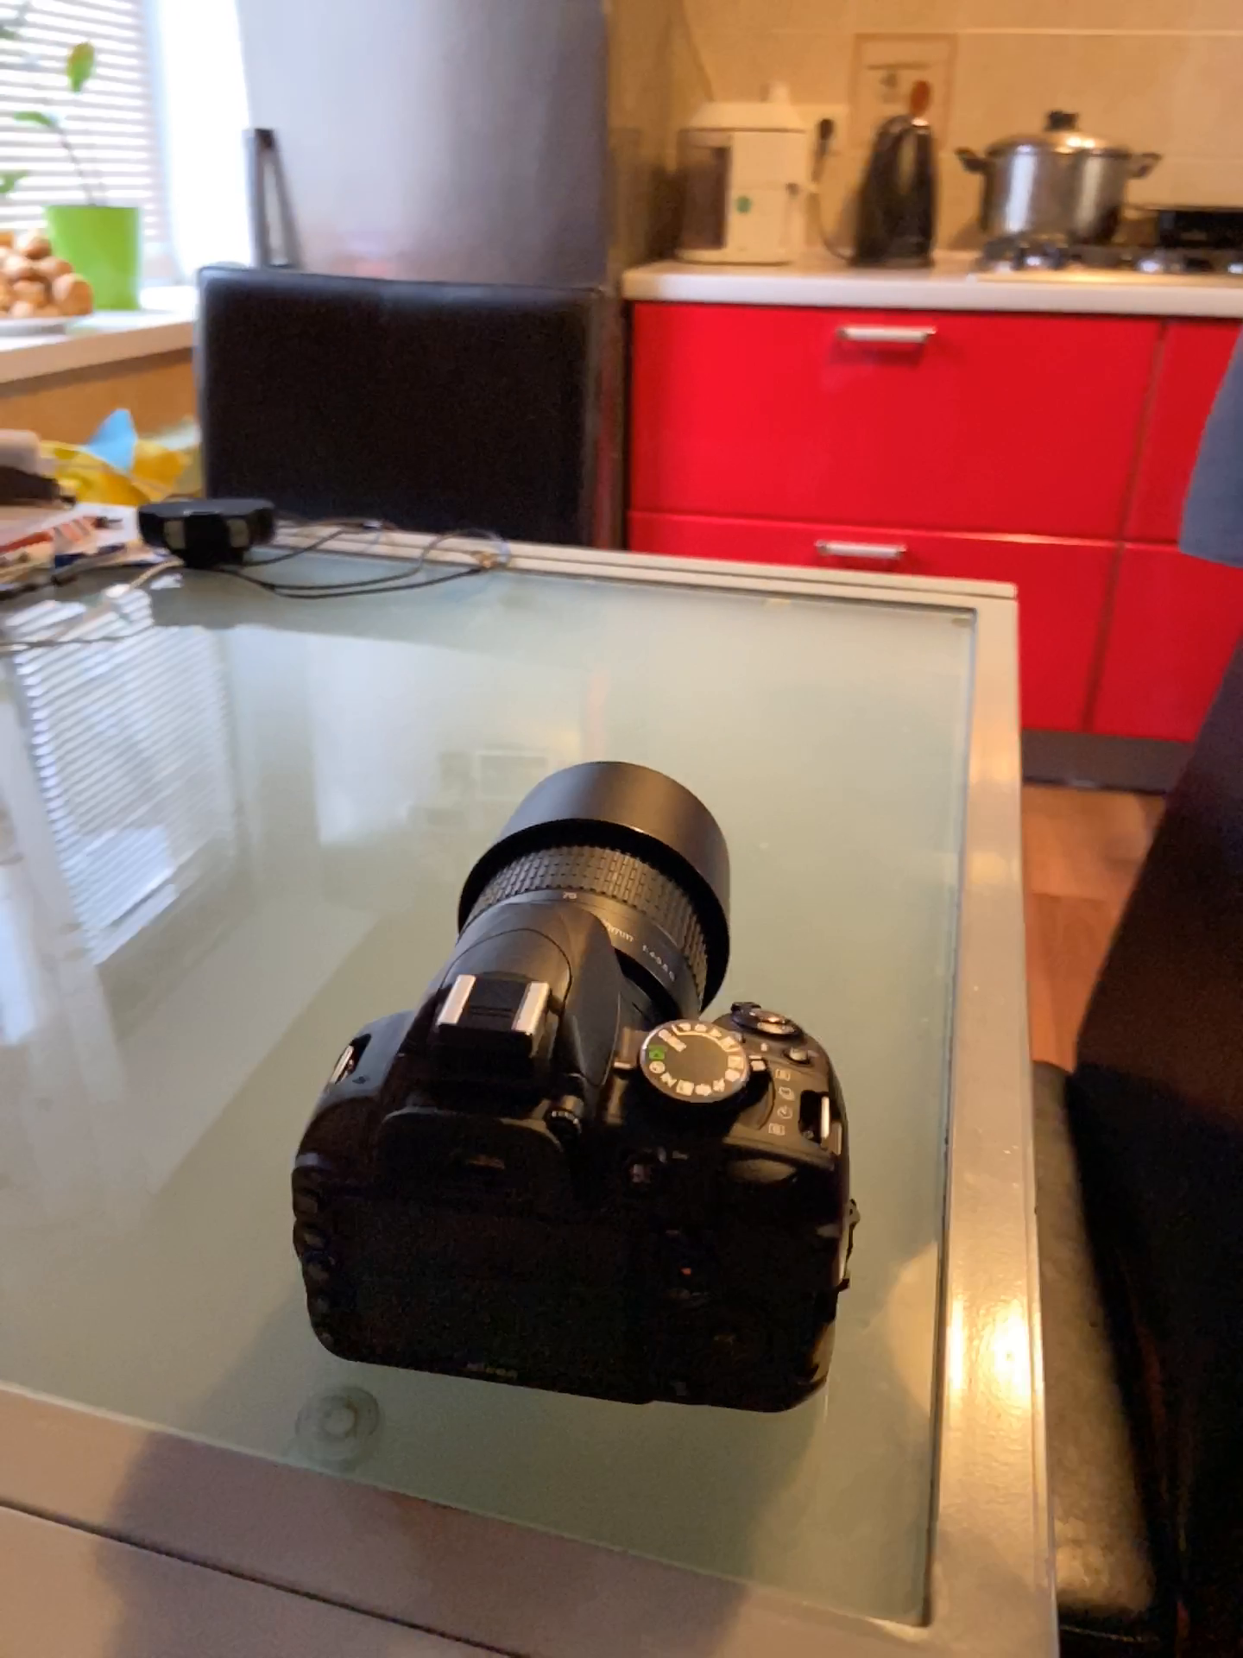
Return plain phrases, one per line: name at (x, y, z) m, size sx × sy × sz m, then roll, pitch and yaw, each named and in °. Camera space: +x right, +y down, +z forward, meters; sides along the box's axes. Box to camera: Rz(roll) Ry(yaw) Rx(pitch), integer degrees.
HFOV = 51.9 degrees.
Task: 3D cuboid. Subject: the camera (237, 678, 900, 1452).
camera at (0.003, 0.044, 0.368) m, size 0.134 × 0.099 × 0.210 m, roll 5°, pitch 27°, yaw 8°
